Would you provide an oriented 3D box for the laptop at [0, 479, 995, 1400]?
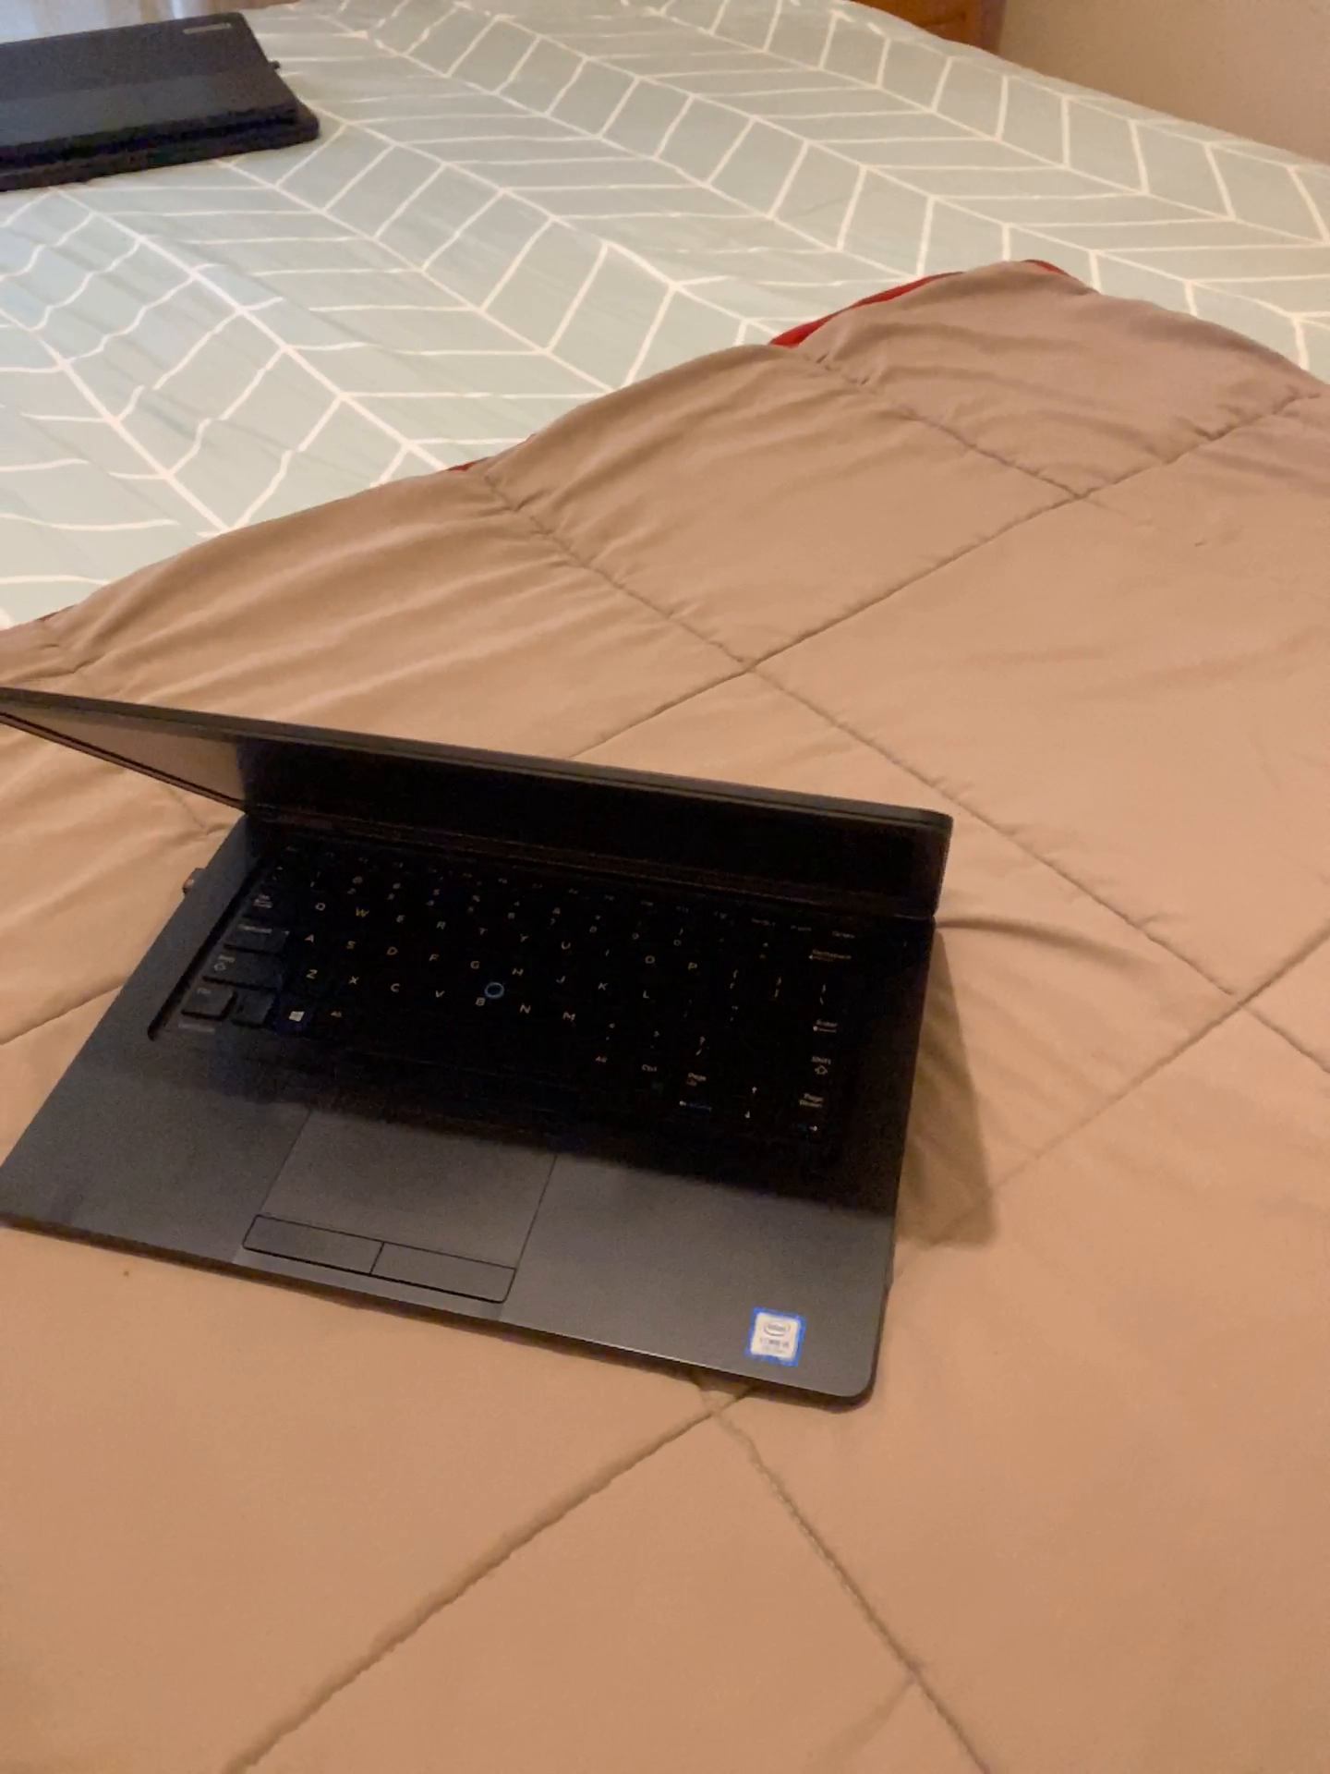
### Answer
[{"bbox_3d":[-0.072,0.004,0.493,0.334,0.183,0.227,9,46,11],"label":"laptop"}]
